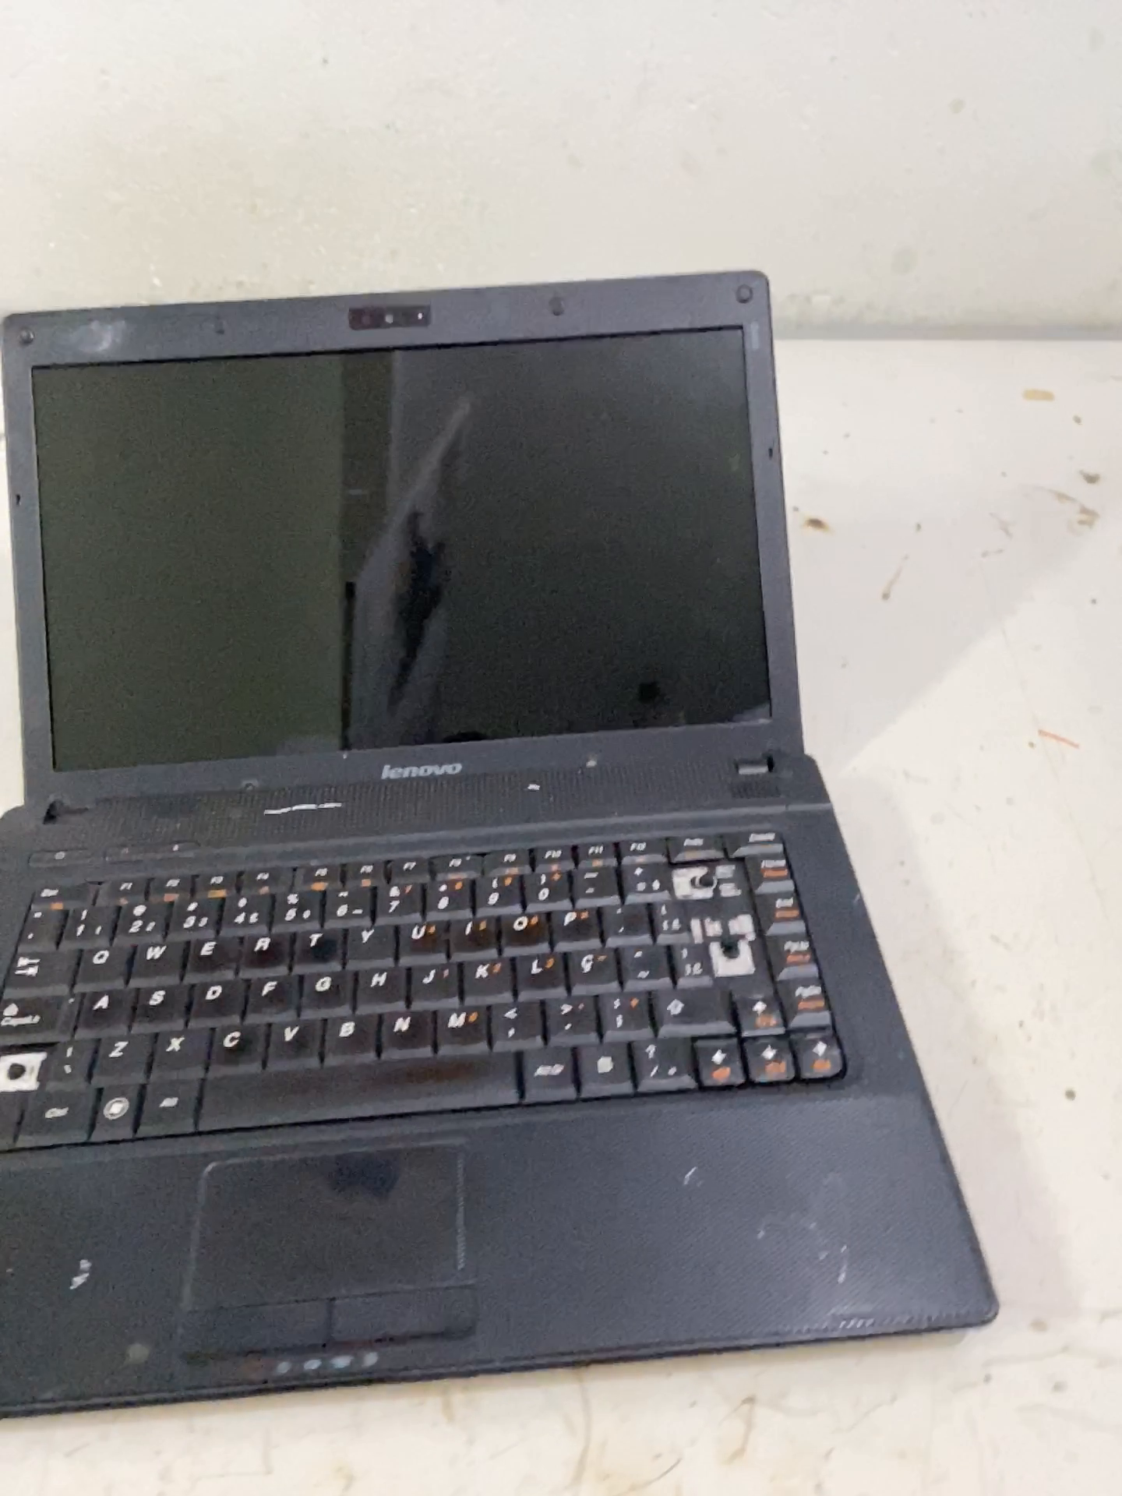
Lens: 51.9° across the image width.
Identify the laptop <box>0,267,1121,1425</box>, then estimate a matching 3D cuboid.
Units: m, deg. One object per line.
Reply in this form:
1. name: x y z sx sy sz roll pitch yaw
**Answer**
1. laptop: -0.062 -0.017 0.441 0.357 0.147 0.424 -4 44 -2
